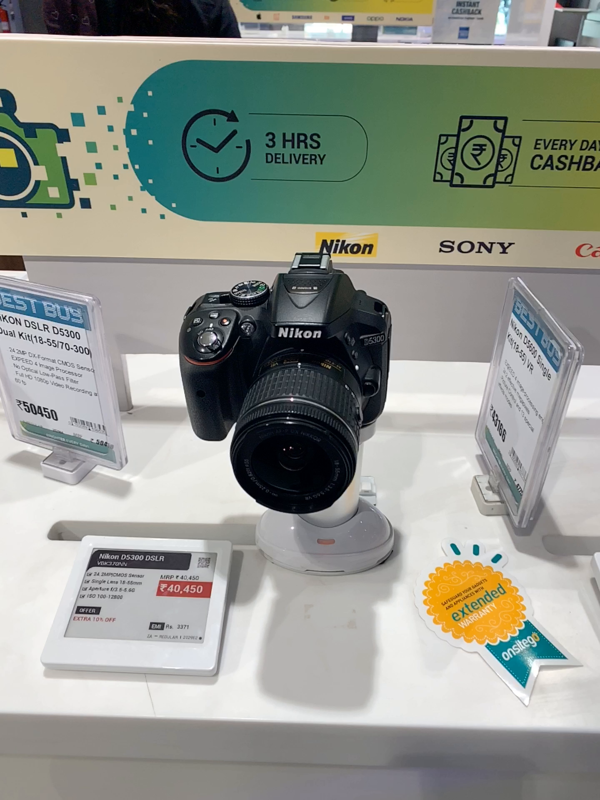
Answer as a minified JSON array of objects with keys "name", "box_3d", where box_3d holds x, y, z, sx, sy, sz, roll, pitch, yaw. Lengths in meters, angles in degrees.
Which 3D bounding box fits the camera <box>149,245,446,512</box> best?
[{"name":"camera","box_3d":[0.000,-0.017,0.319,0.118,0.082,0.123,1,34,1]}]
